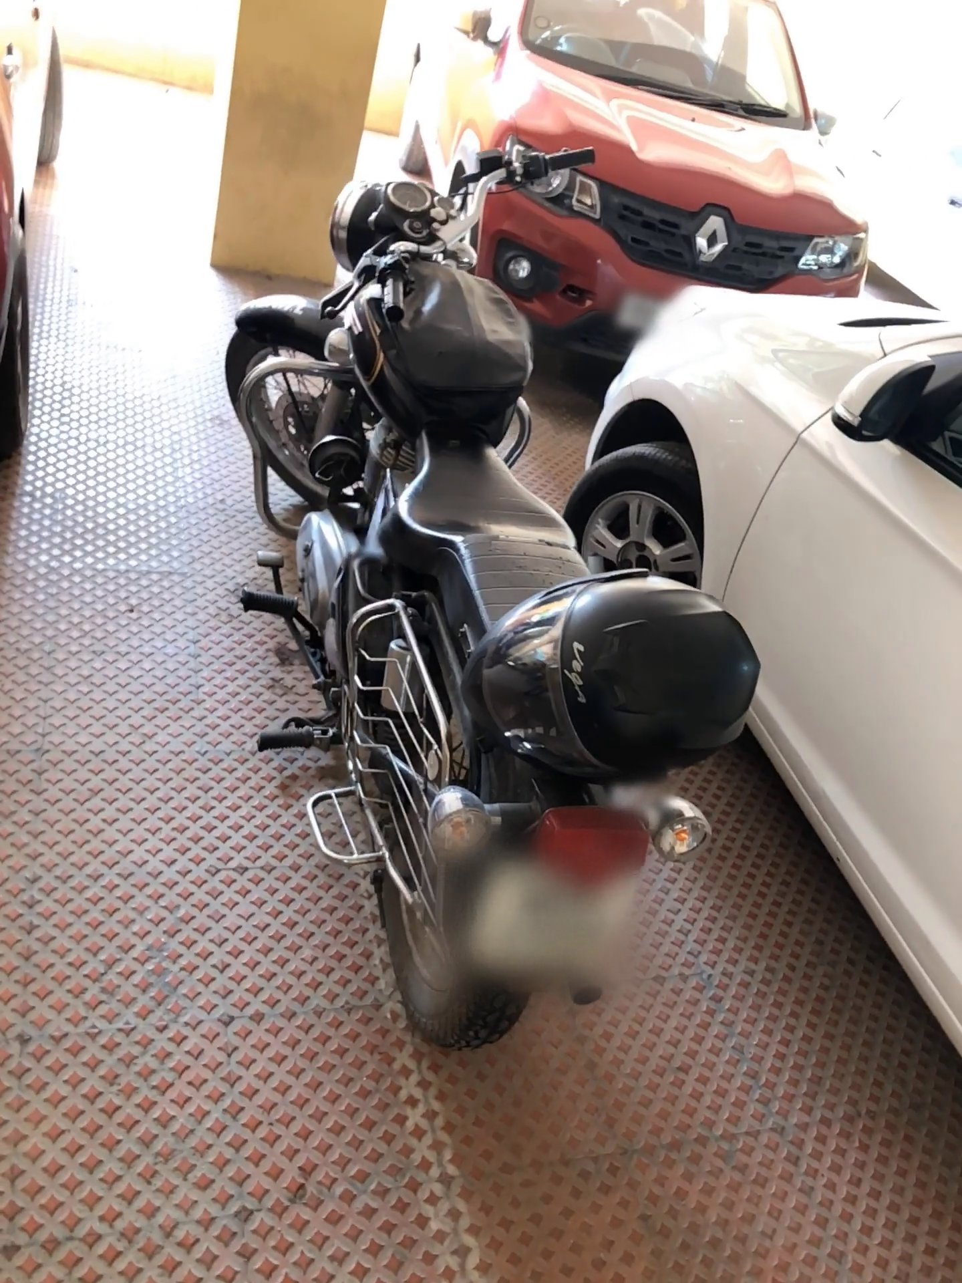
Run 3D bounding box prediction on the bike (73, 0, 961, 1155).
[{"bbox_3d":[-0.246,-0.285,1.937,0.693,1.217,1.790,-2,43,-26],"label":"bike"}]
